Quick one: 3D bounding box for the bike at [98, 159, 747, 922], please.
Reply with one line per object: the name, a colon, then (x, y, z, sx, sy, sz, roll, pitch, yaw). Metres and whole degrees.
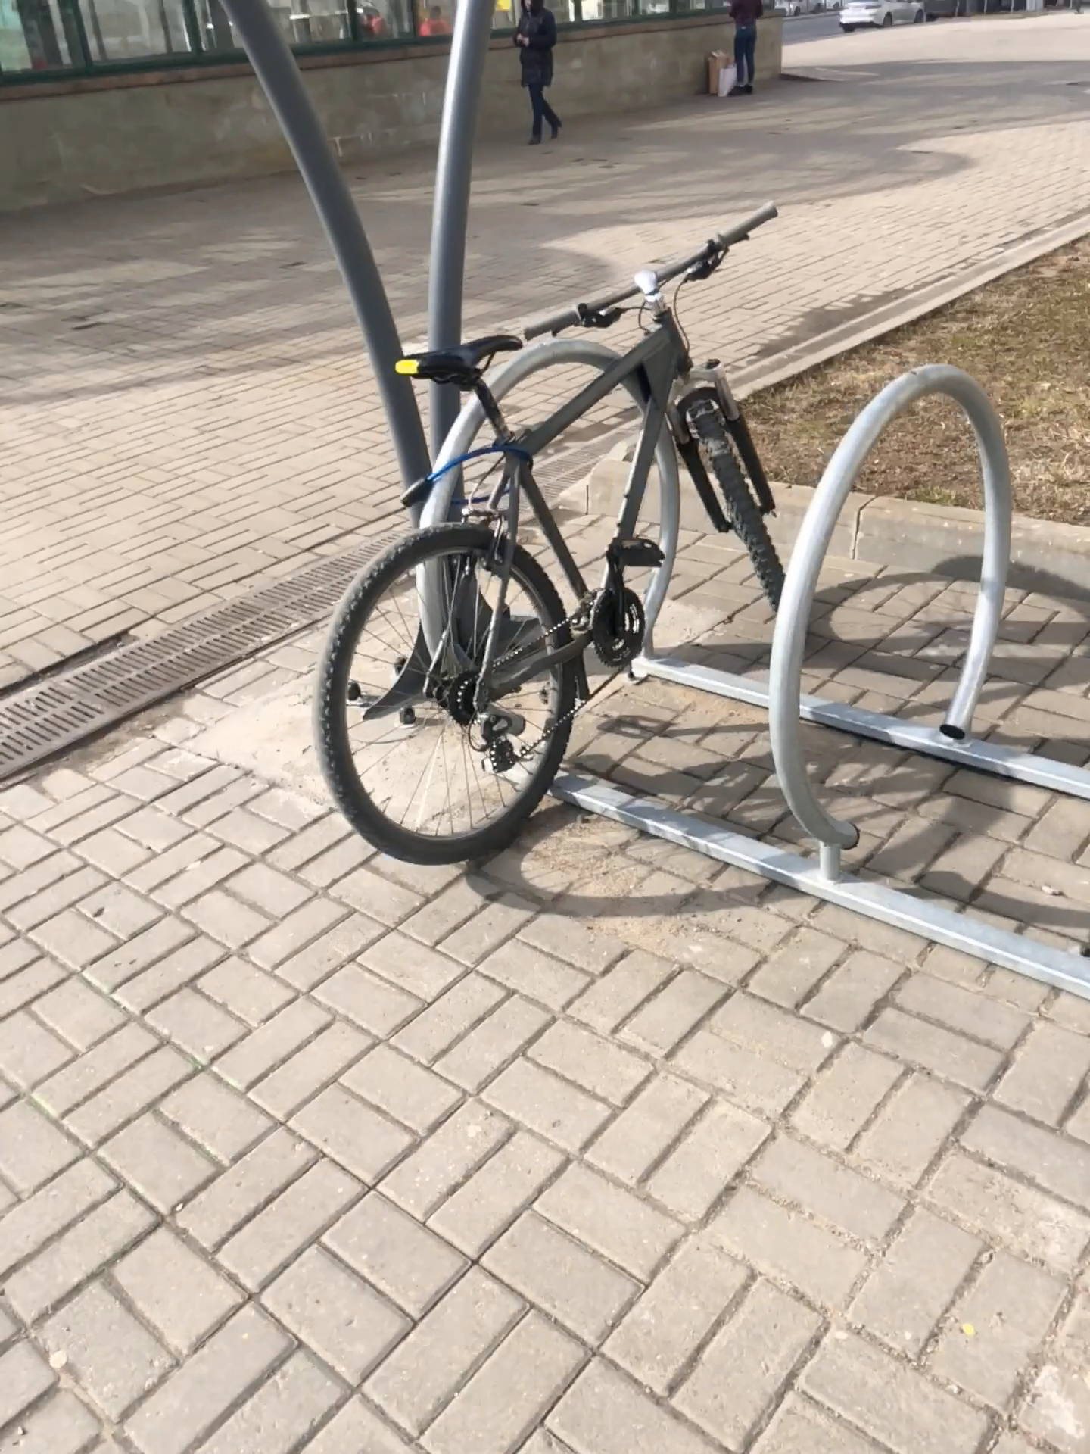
bike: (-0.096, -0.573, 2.597, 0.562, 0.979, 1.618, 13, 37, 29)
